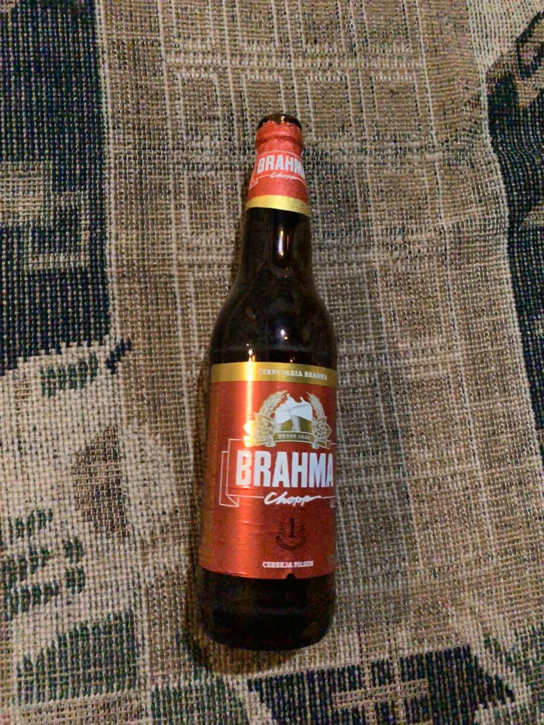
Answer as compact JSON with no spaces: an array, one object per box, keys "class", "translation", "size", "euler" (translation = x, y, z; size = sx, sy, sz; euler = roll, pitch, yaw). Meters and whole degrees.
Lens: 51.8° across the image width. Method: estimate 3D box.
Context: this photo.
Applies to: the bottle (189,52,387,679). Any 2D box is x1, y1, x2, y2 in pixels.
[{"class":"bottle","translation":[0.008,-0.004,0.284],"size":[0.080,0.060,0.280],"euler":[4,80,-12]}]
